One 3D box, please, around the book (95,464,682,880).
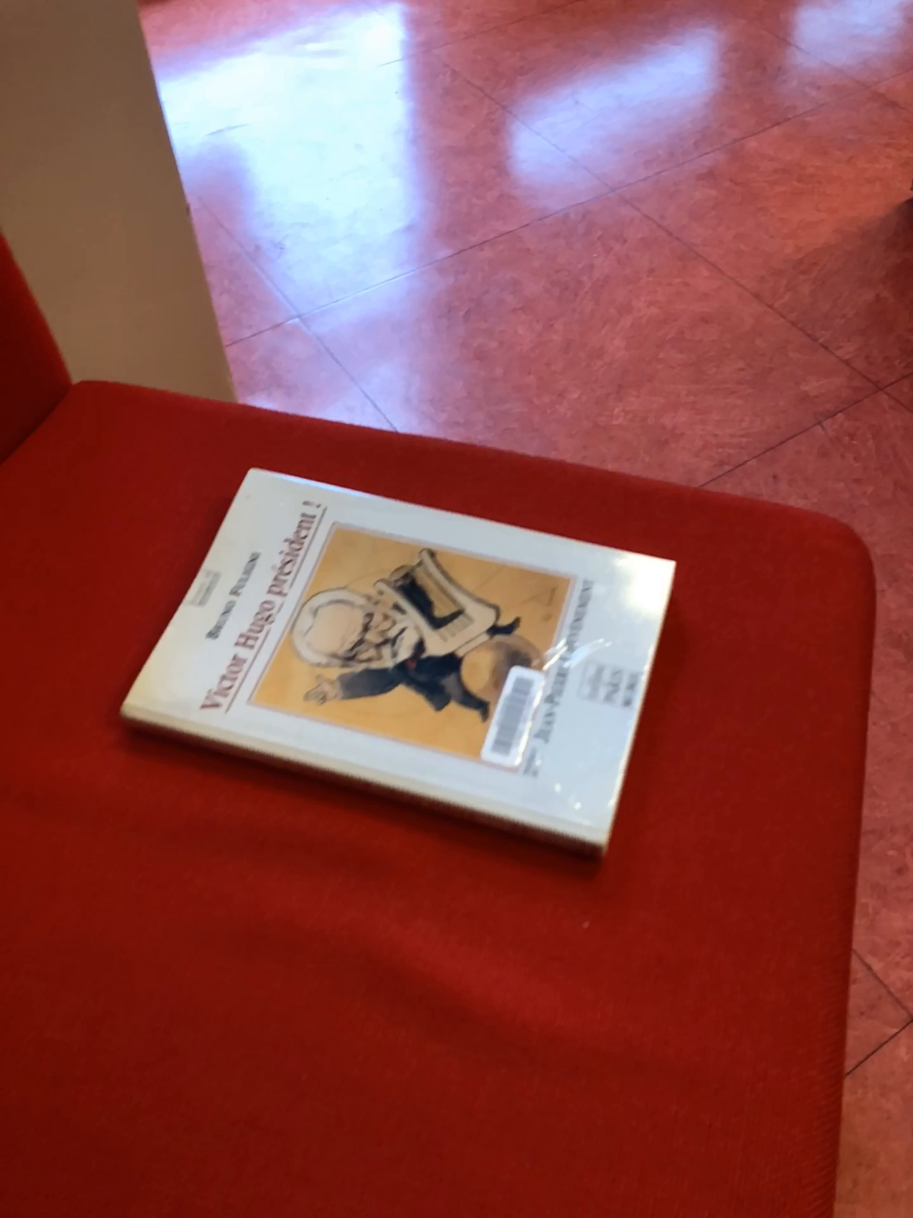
[{"bbox_3d":[-0.025,0.020,0.480,0.236,0.040,0.152,13,55,10],"label":"book"}]
